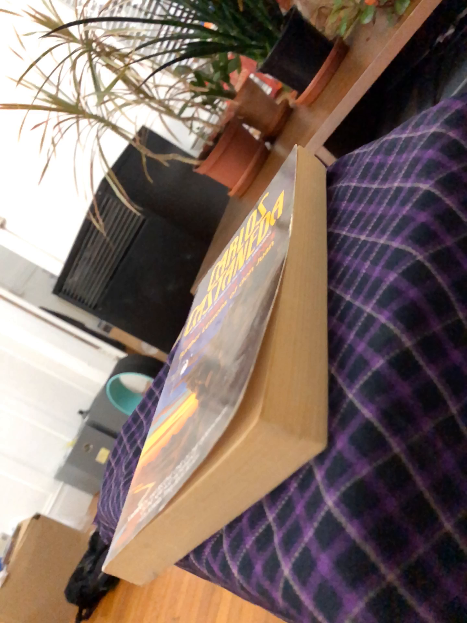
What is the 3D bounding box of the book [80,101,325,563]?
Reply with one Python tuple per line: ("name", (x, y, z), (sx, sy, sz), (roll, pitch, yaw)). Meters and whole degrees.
("book", (-0.007, -0.005, 0.274), (0.150, 0.020, 0.221), (-50, 17, 38))
